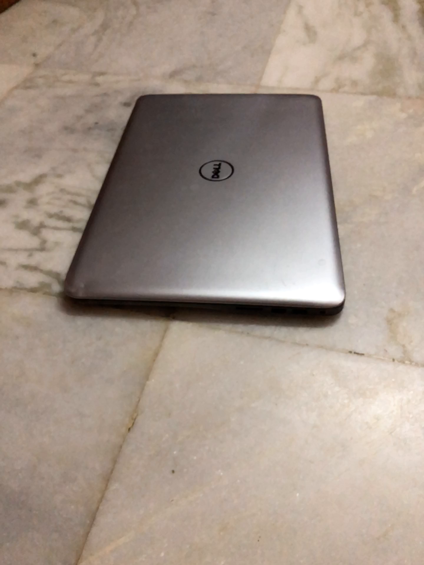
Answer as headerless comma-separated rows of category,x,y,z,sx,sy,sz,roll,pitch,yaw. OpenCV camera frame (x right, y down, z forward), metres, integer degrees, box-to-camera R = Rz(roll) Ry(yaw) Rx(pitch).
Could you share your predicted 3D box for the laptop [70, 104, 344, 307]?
laptop,0.008,-0.113,0.533,0.244,0.002,0.348,2,49,5
